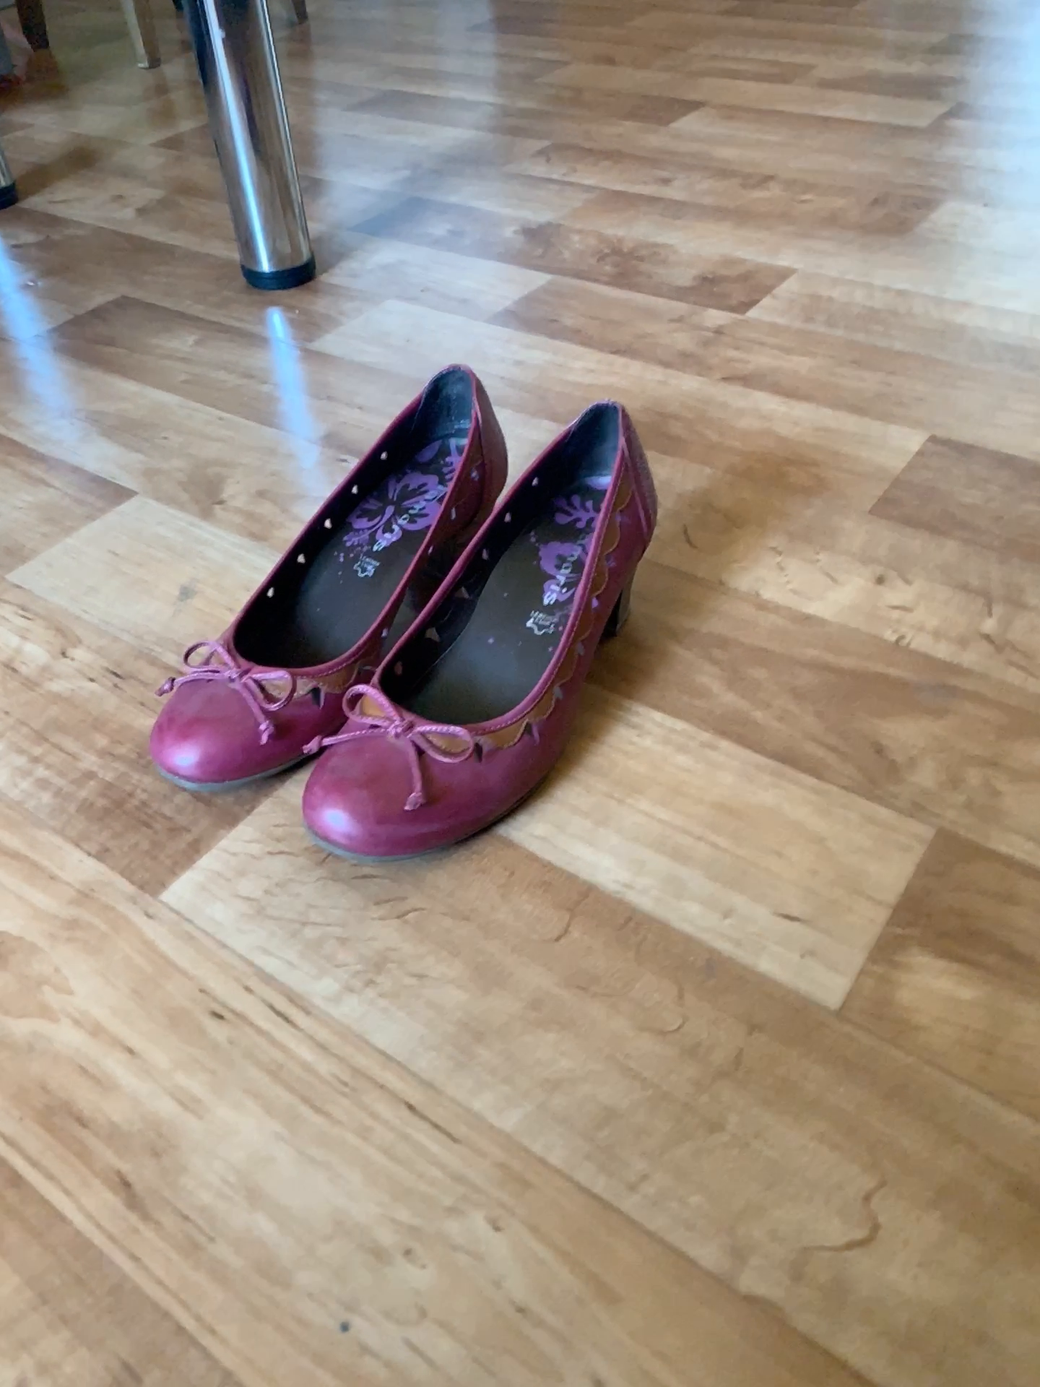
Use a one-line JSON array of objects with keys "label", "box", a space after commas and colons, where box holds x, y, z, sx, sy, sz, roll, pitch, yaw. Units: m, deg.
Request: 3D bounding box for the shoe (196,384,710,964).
[{"label": "shoe", "box": [-0.010, -0.024, 0.462, 0.090, 0.109, 0.241, 19, 48, 24]}]

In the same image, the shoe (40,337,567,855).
[{"label": "shoe", "box": [-0.079, -0.059, 0.500, 0.090, 0.109, 0.241, 21, 48, 26]}]
